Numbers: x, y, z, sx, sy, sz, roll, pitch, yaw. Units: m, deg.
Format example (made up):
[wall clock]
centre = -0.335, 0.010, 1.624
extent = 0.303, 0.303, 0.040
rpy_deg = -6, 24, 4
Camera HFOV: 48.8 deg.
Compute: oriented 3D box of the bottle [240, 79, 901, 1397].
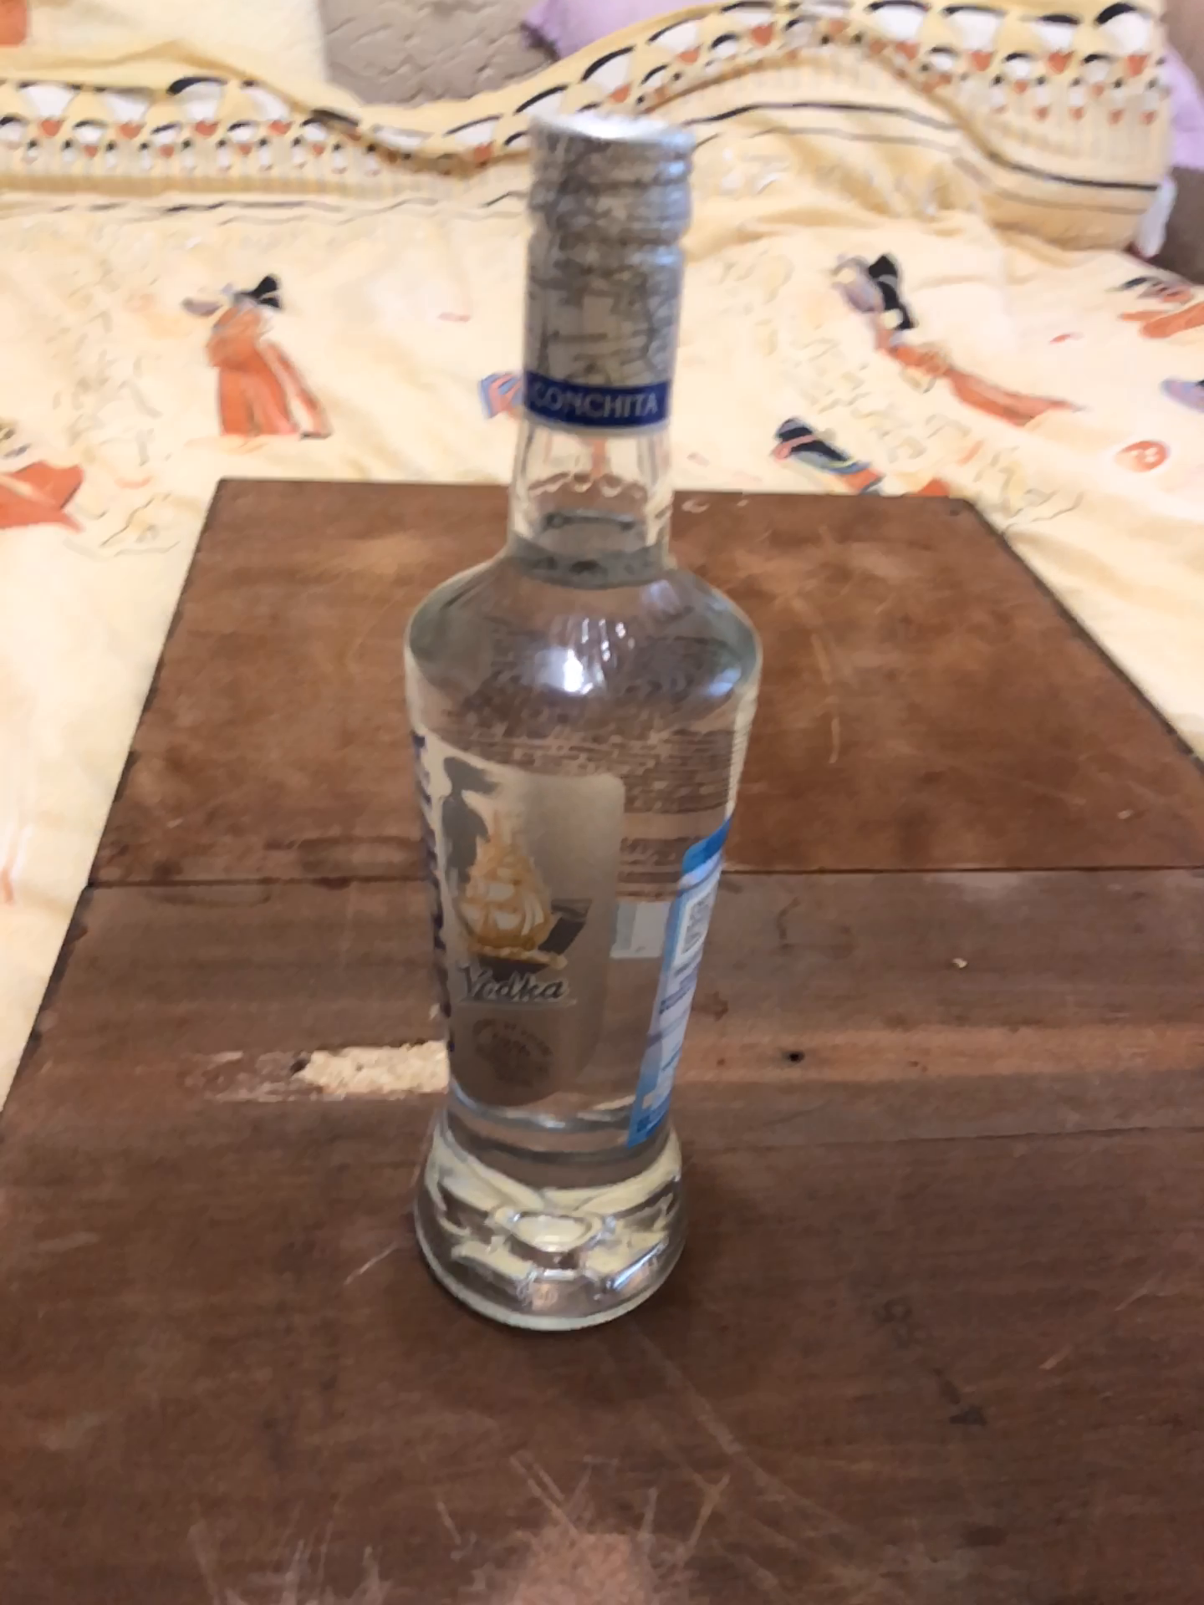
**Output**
[bottle]
centre = -0.010, 0.002, 0.291
extent = 0.075, 0.273, 0.077
rpy_deg = 2, 34, -1
